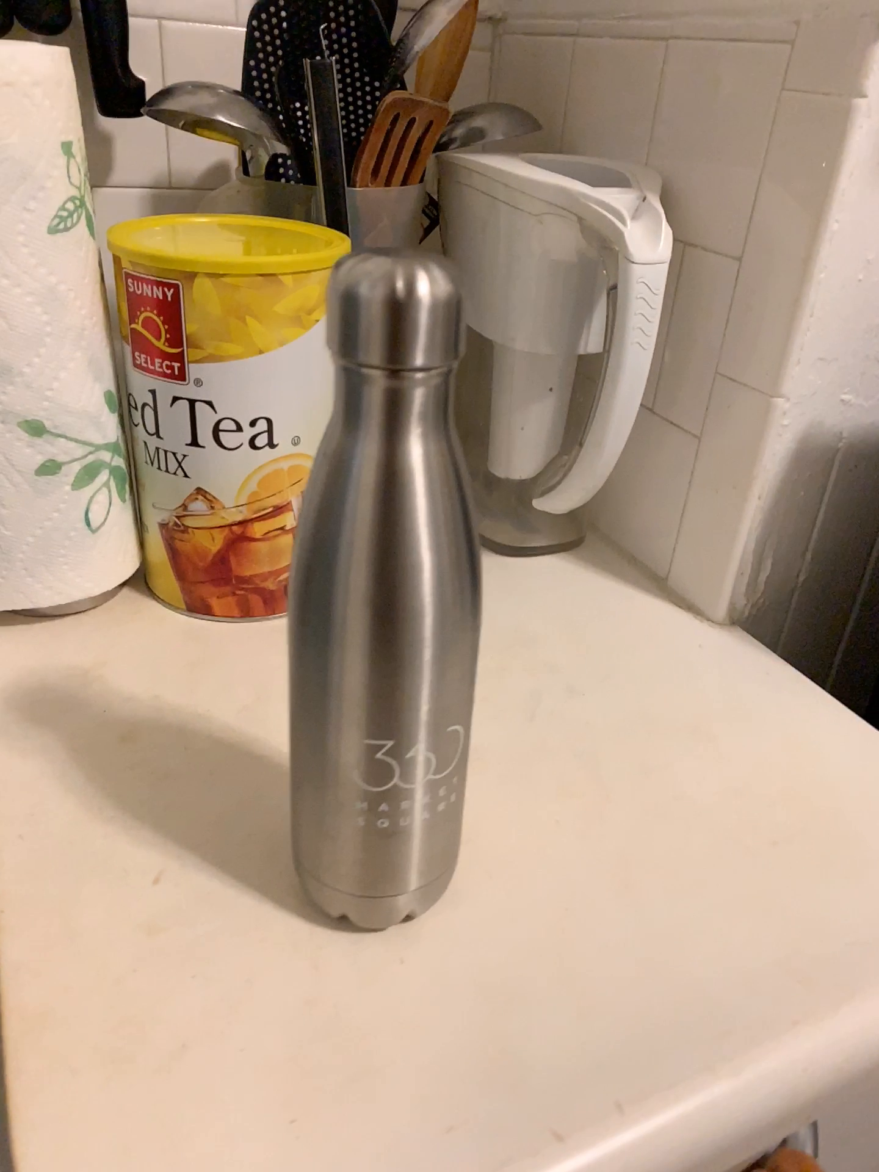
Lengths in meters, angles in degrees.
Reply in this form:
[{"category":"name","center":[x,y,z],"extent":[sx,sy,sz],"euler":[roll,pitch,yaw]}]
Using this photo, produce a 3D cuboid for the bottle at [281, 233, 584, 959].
[{"category":"bottle","center":[-0.015,0.013,0.322],"extent":[0.070,0.249,0.070],"euler":[4,29,-2]}]
